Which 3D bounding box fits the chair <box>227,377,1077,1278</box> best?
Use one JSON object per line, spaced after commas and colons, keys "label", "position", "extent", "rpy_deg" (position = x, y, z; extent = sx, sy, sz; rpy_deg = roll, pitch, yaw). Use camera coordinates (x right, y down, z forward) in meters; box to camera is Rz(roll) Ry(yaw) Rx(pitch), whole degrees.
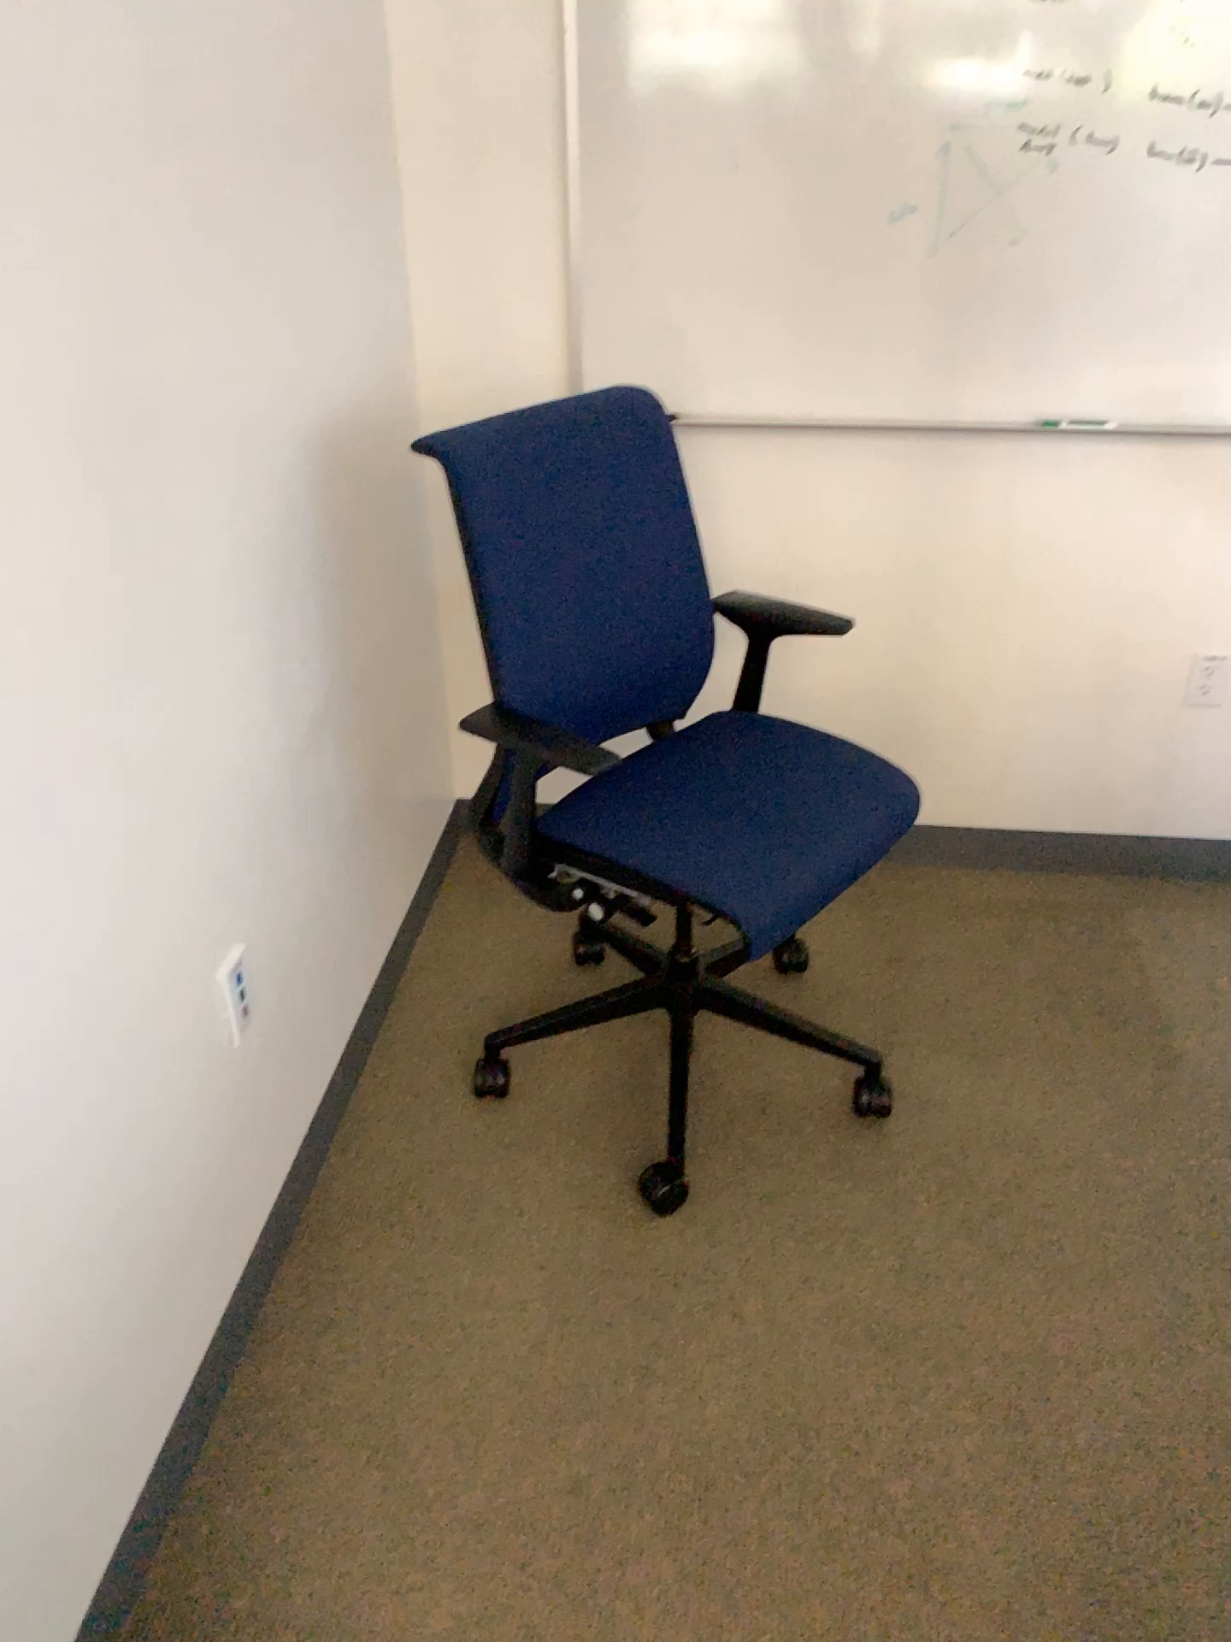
{"label": "chair", "position": [0.039, -0.089, 2.050], "extent": [0.983, 0.994, 0.742], "rpy_deg": [24, 39, 37]}
